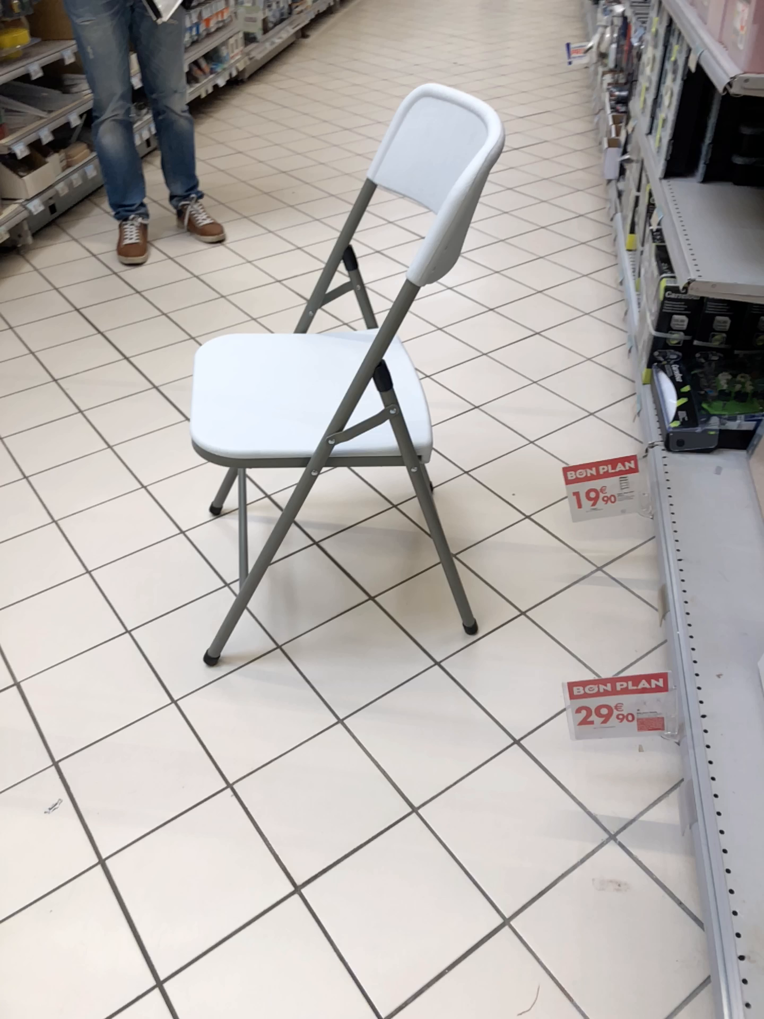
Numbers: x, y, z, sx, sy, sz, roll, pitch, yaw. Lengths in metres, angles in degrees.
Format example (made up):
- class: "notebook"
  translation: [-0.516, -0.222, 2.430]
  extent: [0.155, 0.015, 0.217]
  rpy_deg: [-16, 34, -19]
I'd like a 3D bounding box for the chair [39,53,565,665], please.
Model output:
- class: "chair"
  translation: [-0.101, -0.243, 1.330]
  extent: [0.560, 0.746, 0.543]
  rpy_deg: [-6, 38, -5]
